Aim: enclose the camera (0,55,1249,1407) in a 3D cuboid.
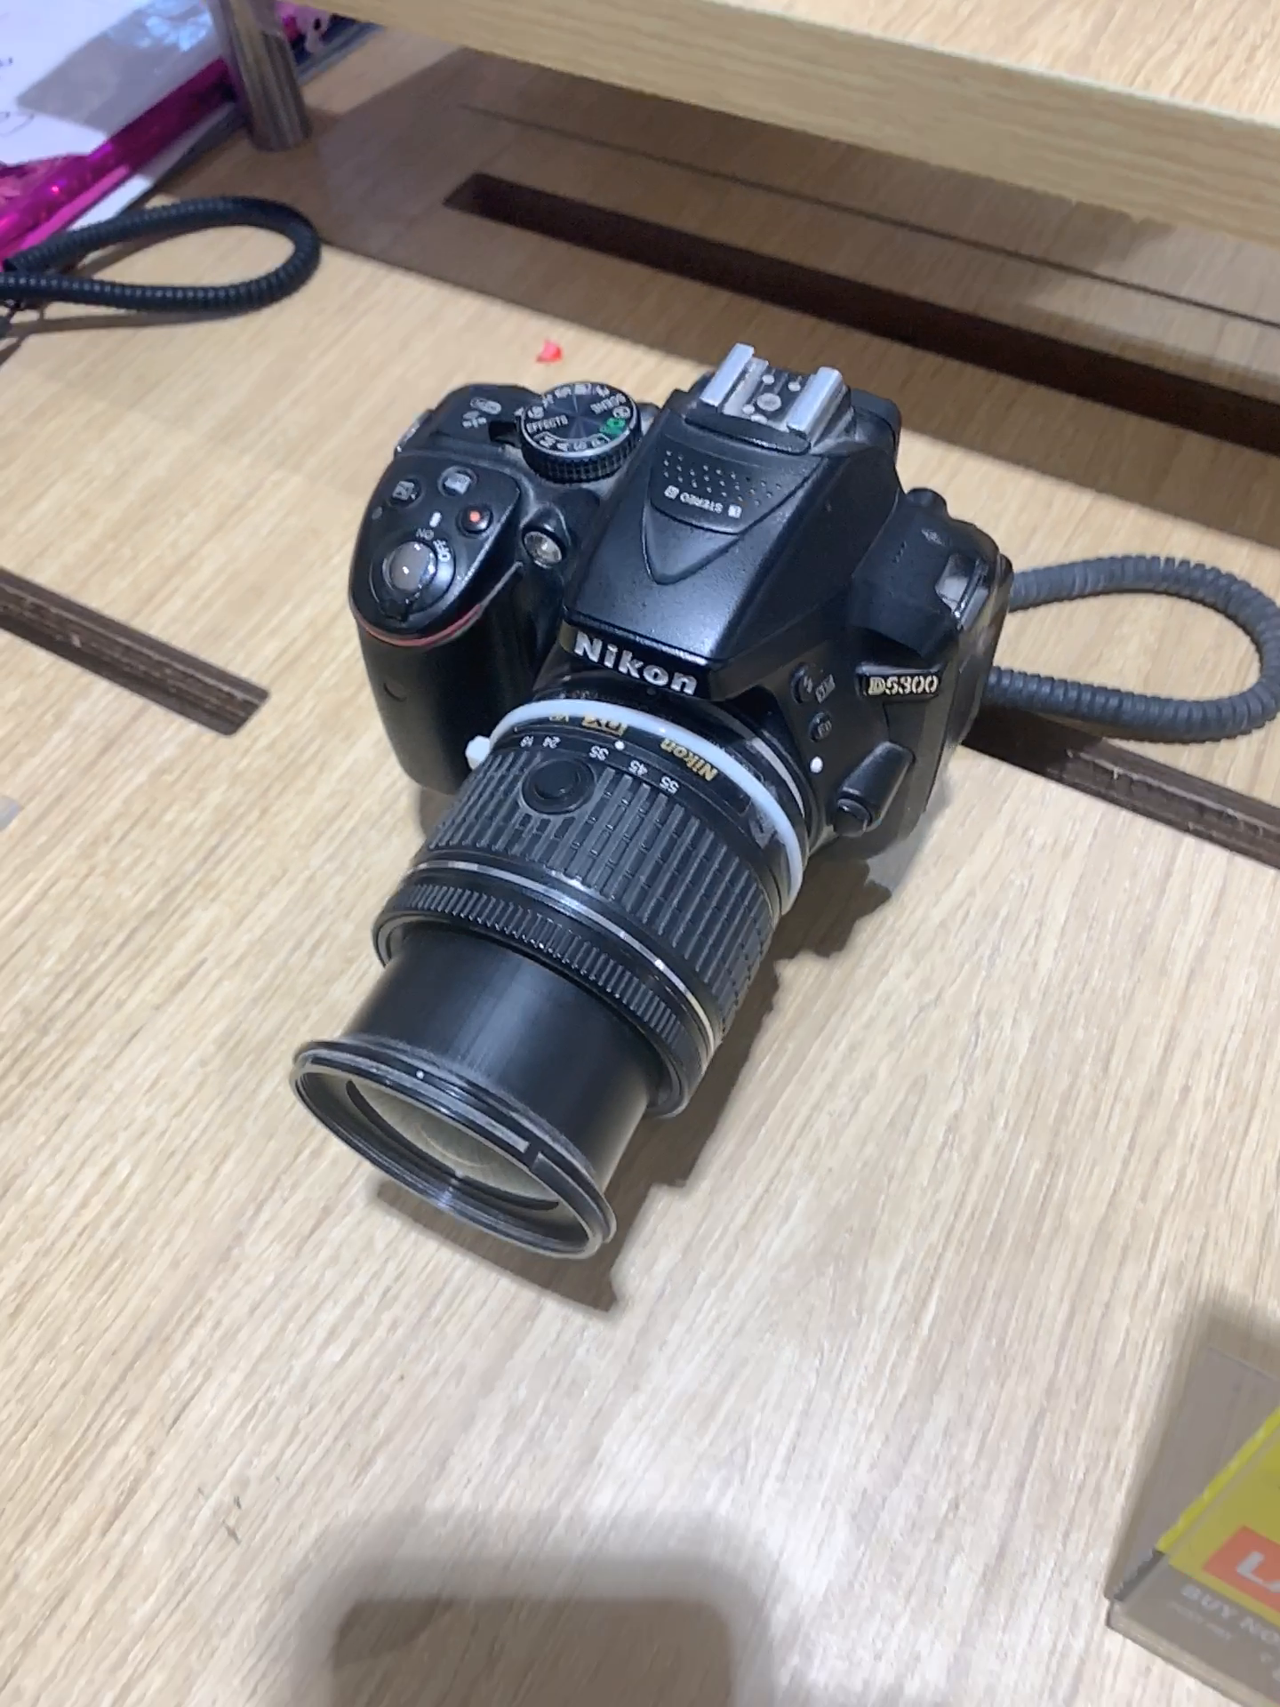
[{"bbox_3d":[-0.001,-0.037,0.271,0.160,0.120,0.210,21,60,17],"label":"camera"}]
